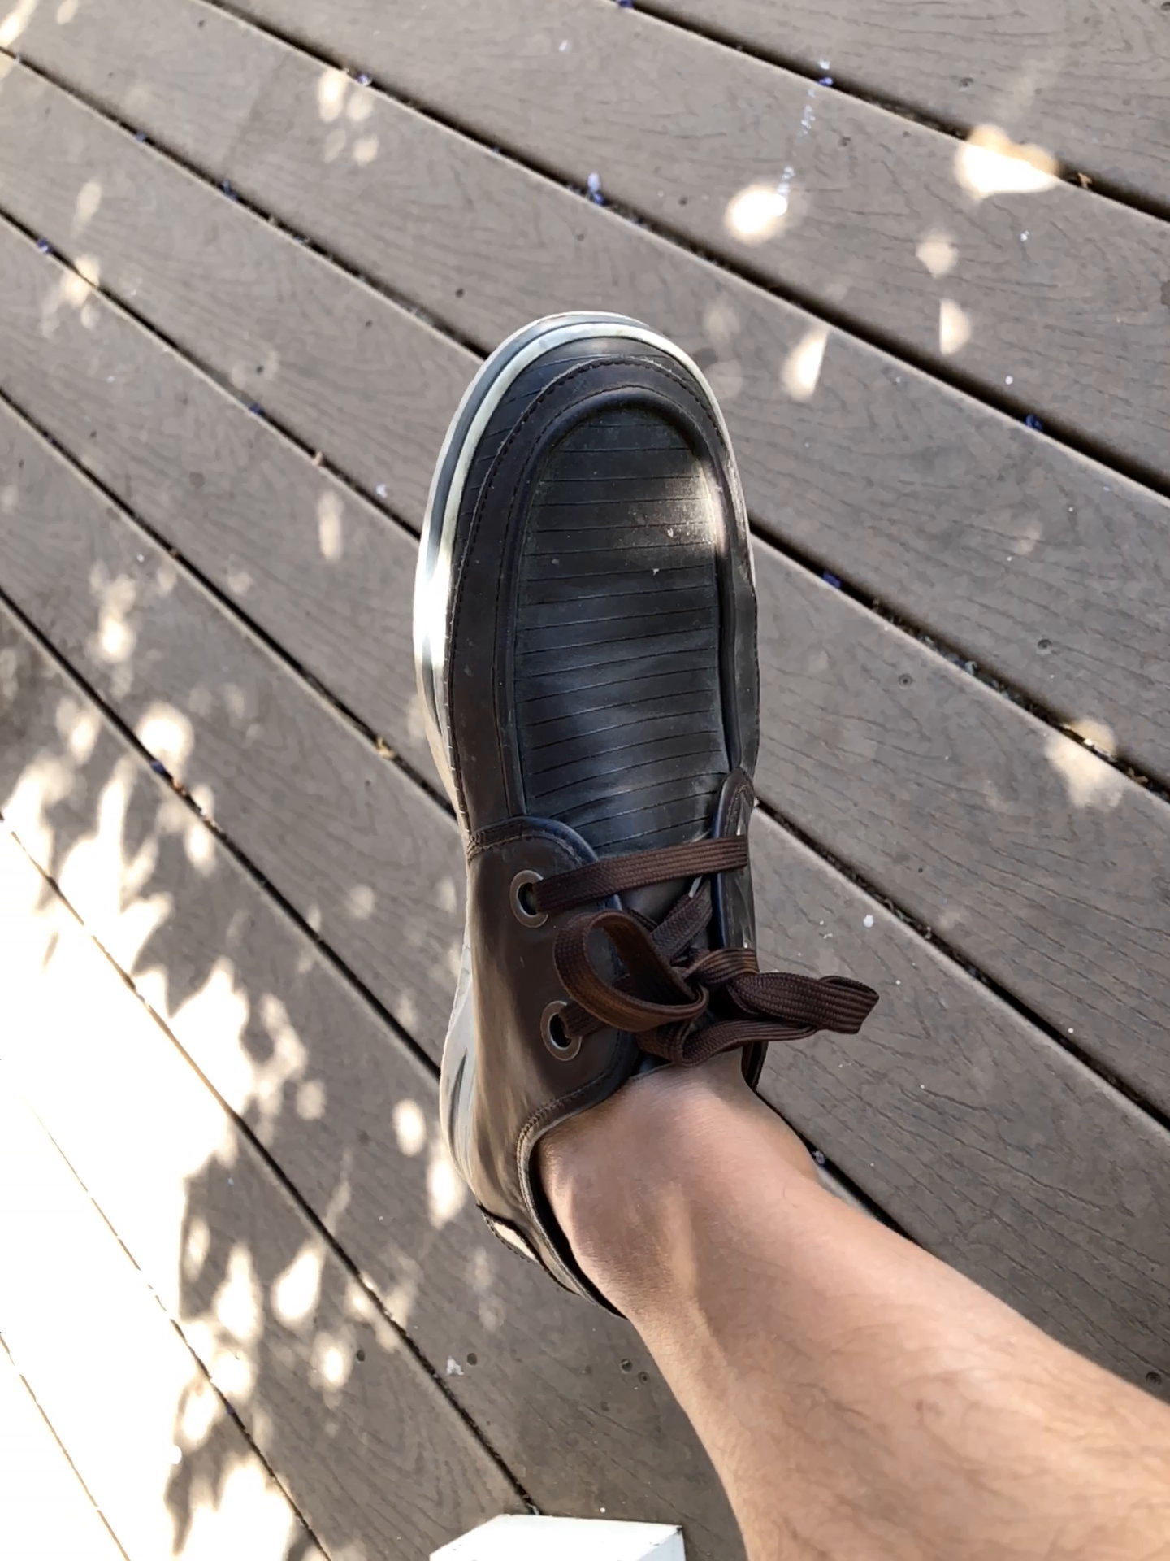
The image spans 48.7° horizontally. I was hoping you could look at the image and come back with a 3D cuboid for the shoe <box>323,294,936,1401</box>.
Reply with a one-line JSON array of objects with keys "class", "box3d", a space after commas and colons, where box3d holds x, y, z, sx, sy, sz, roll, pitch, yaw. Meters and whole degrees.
[{"class": "shoe", "box3d": [0.006, 0.024, 0.352, 0.092, 0.102, 0.275, 43, 141, 50]}]
